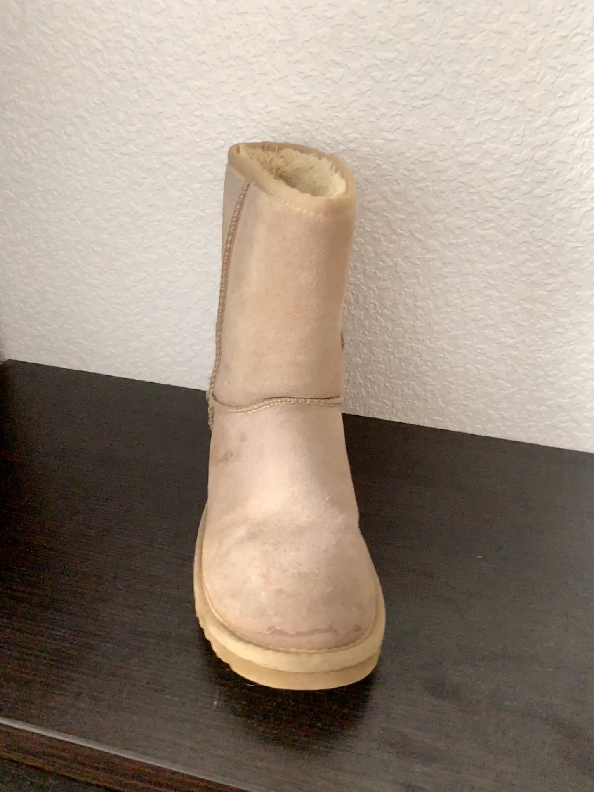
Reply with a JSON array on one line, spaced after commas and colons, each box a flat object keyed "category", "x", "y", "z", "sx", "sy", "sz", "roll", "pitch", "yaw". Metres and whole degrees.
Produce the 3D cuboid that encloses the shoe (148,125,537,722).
[{"category": "shoe", "x": -0.002, "y": -0.011, "z": 0.350, "sx": 0.116, "sy": 0.229, "sz": 0.261, "roll": 0, "pitch": 31, "yaw": -6}]
